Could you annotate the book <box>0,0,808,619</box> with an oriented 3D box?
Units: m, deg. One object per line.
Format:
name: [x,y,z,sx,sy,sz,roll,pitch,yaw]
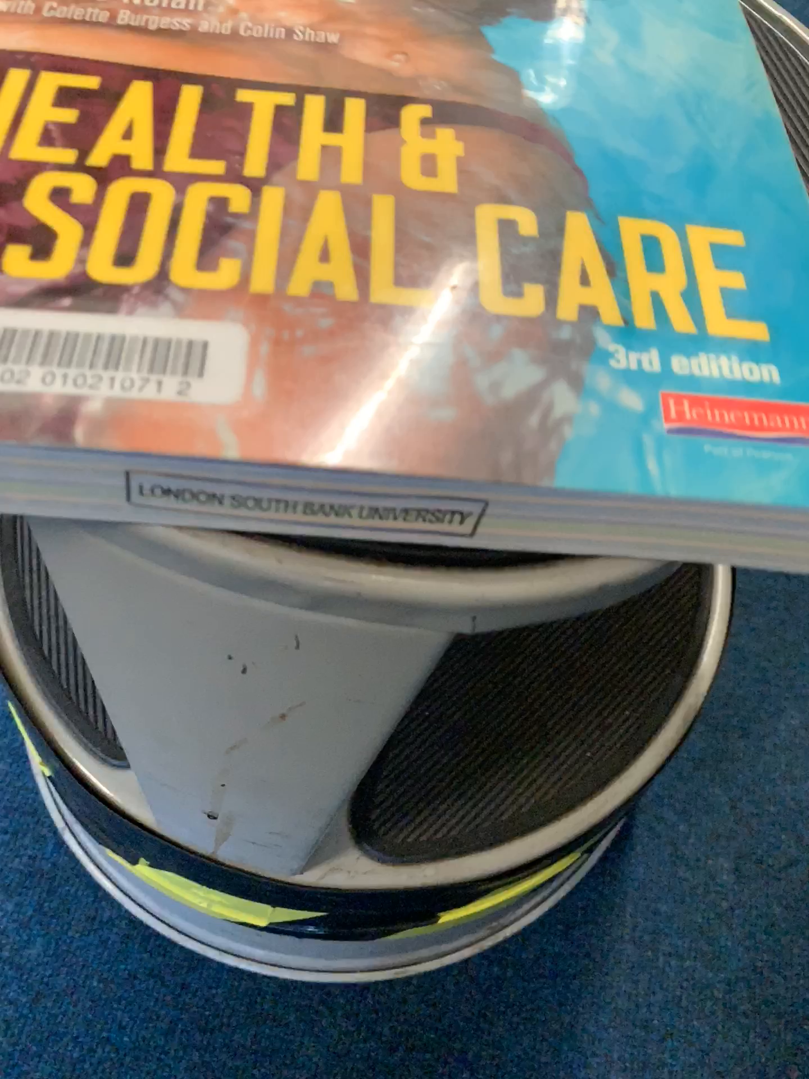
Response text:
book: [-0.009,-0.116,0.196,0.200,0.030,0.271,3,60,-5]
